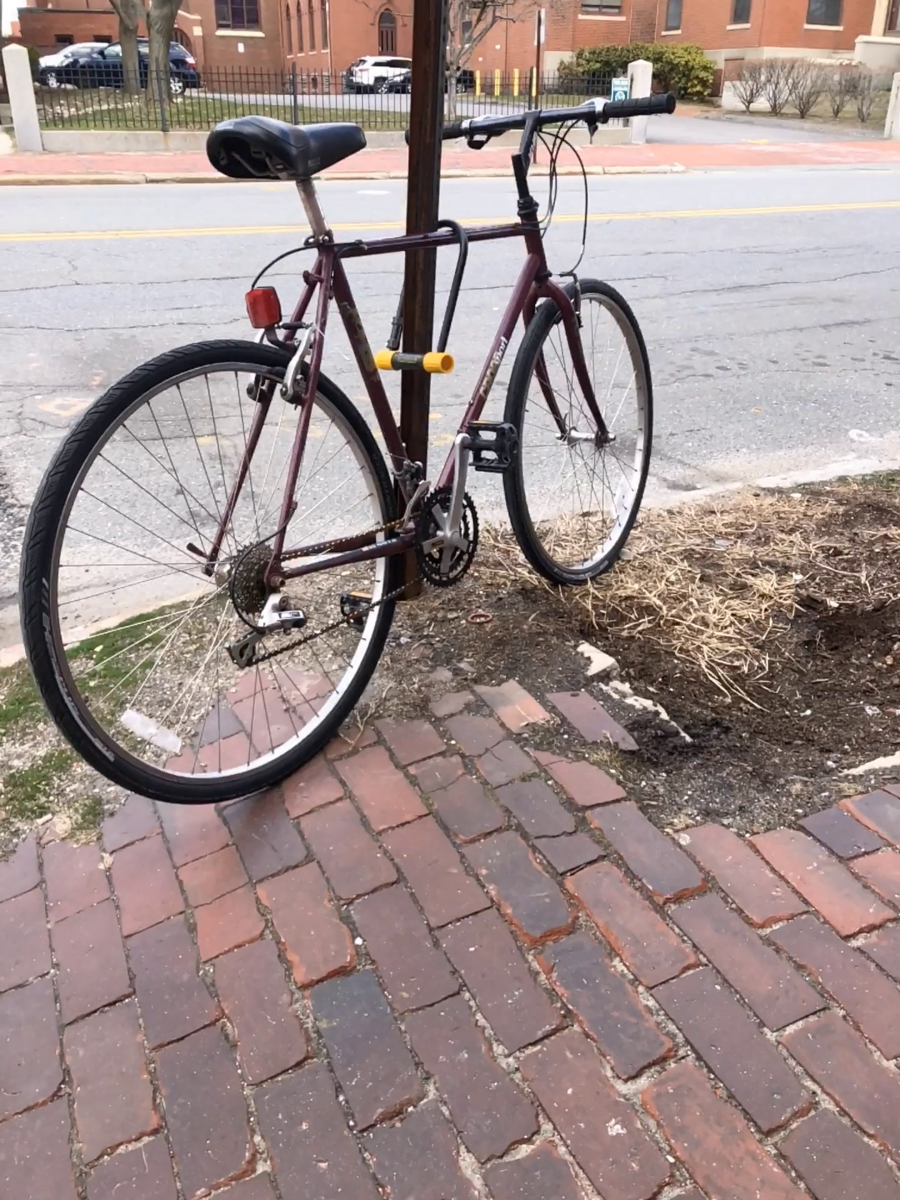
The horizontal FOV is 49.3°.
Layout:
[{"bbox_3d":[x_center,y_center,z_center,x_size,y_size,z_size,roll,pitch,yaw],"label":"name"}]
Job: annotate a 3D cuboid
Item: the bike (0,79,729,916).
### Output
[{"bbox_3d":[-0.116,-0.426,1.845,0.555,0.962,1.690,18,33,32],"label":"bike"}]
